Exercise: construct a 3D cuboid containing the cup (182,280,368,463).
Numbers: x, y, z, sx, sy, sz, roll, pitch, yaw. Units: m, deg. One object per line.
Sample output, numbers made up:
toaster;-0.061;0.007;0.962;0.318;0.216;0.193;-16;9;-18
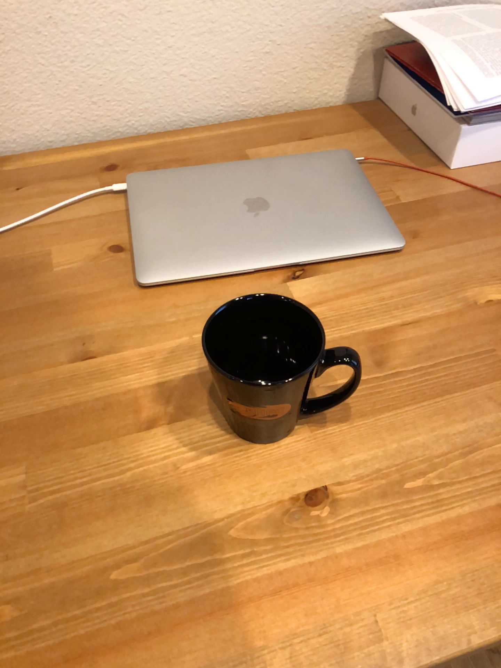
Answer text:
cup;0.022;0.028;0.424;0.120;0.090;0.090;6;47;7
